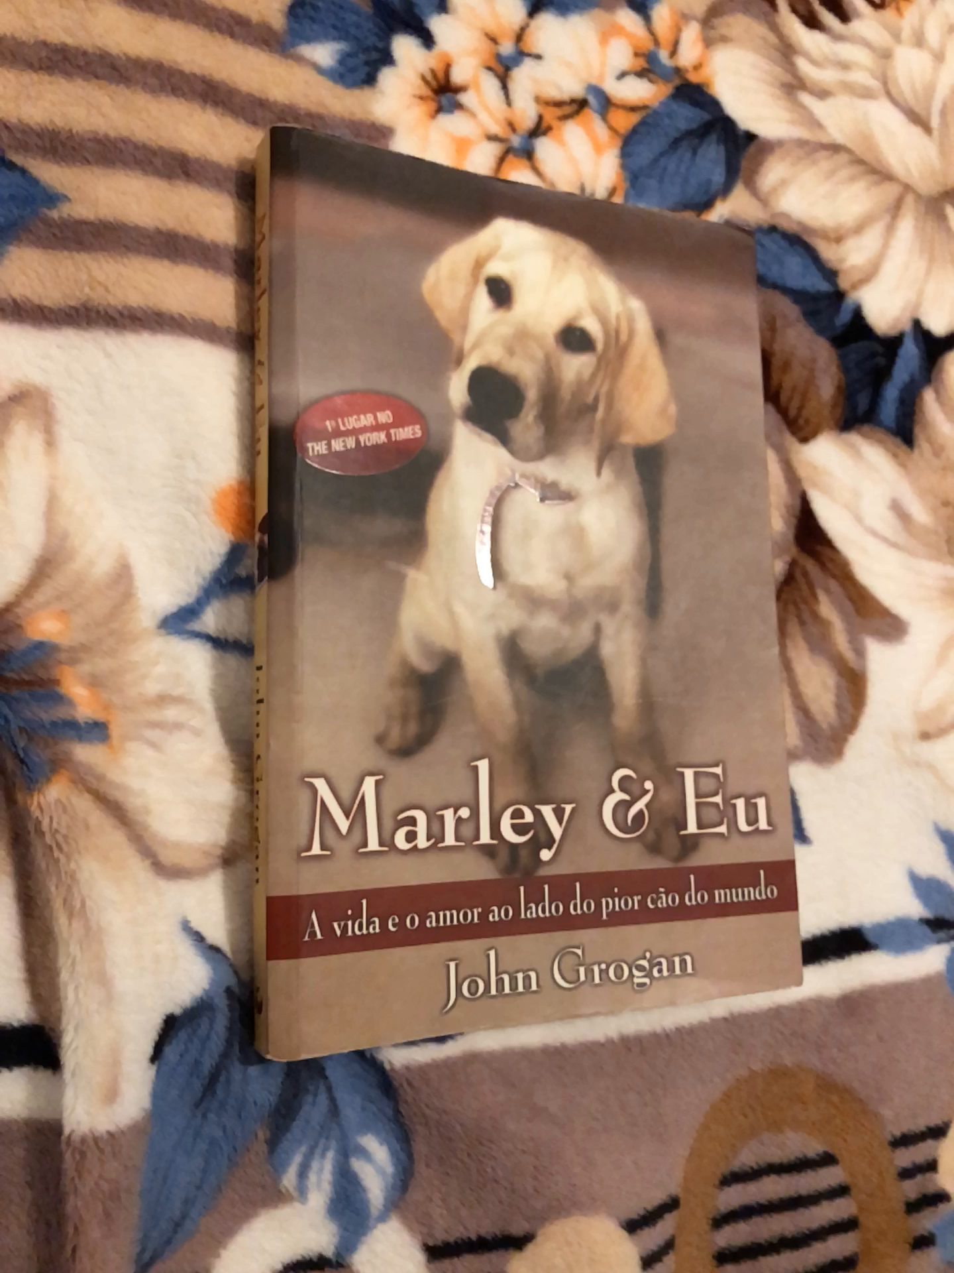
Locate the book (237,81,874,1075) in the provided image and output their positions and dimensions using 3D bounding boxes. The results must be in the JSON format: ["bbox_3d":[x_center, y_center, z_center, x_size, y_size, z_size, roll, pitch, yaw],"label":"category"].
[{"bbox_3d":[0.023,-0.016,0.296,0.170,0.040,0.230,1,82,-26],"label":"book"}]
